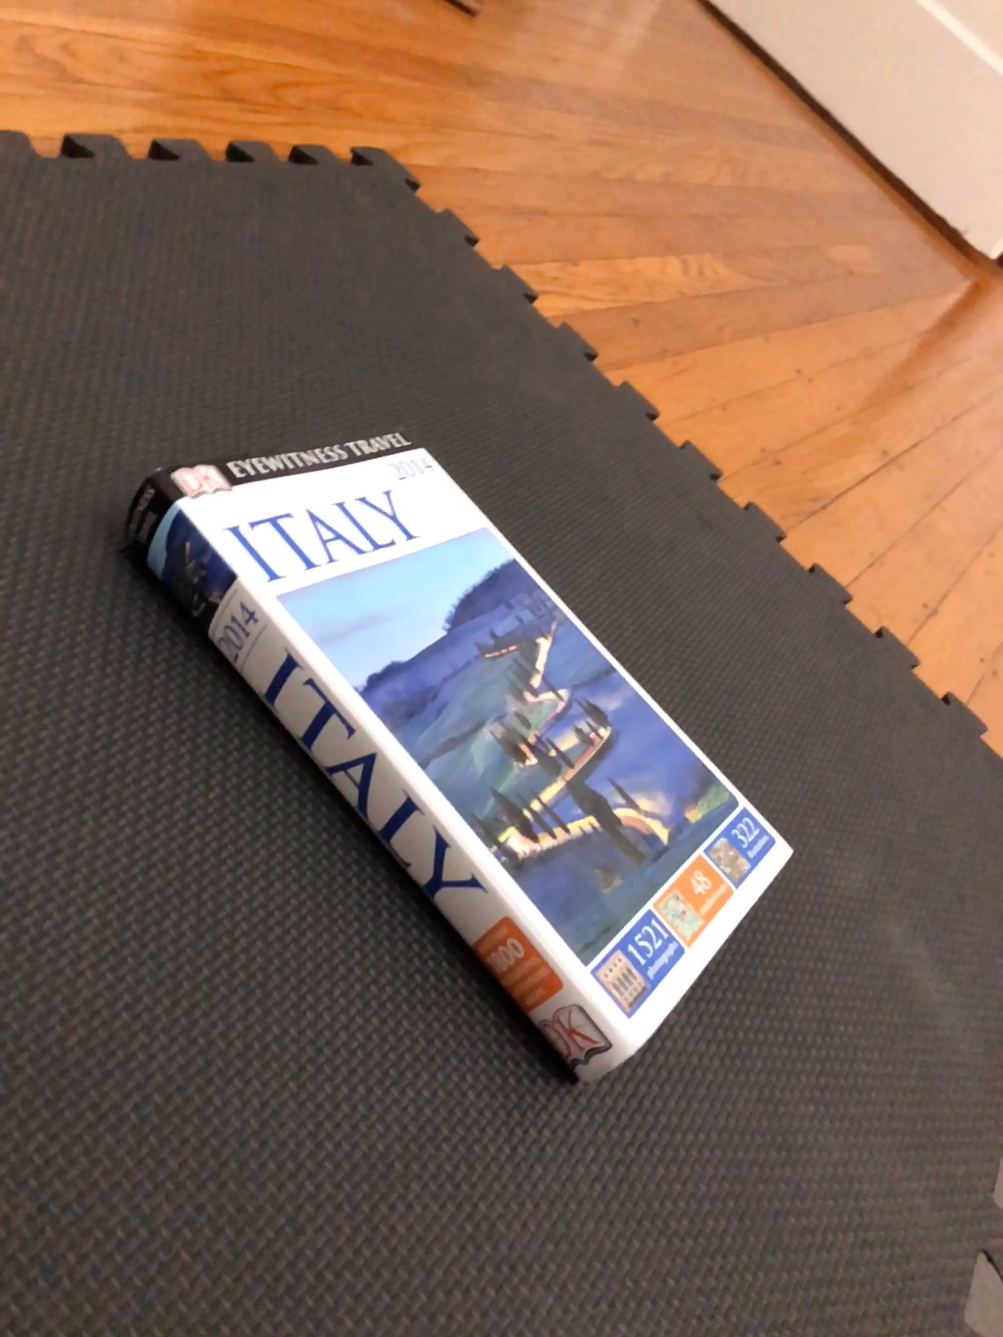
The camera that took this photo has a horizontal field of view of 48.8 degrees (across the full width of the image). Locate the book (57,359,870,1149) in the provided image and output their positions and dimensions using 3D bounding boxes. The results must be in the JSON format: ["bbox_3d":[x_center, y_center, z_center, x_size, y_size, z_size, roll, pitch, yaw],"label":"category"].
[{"bbox_3d":[-0.001,0.003,0.375,0.250,0.040,0.161,47,37,9],"label":"book"}]
